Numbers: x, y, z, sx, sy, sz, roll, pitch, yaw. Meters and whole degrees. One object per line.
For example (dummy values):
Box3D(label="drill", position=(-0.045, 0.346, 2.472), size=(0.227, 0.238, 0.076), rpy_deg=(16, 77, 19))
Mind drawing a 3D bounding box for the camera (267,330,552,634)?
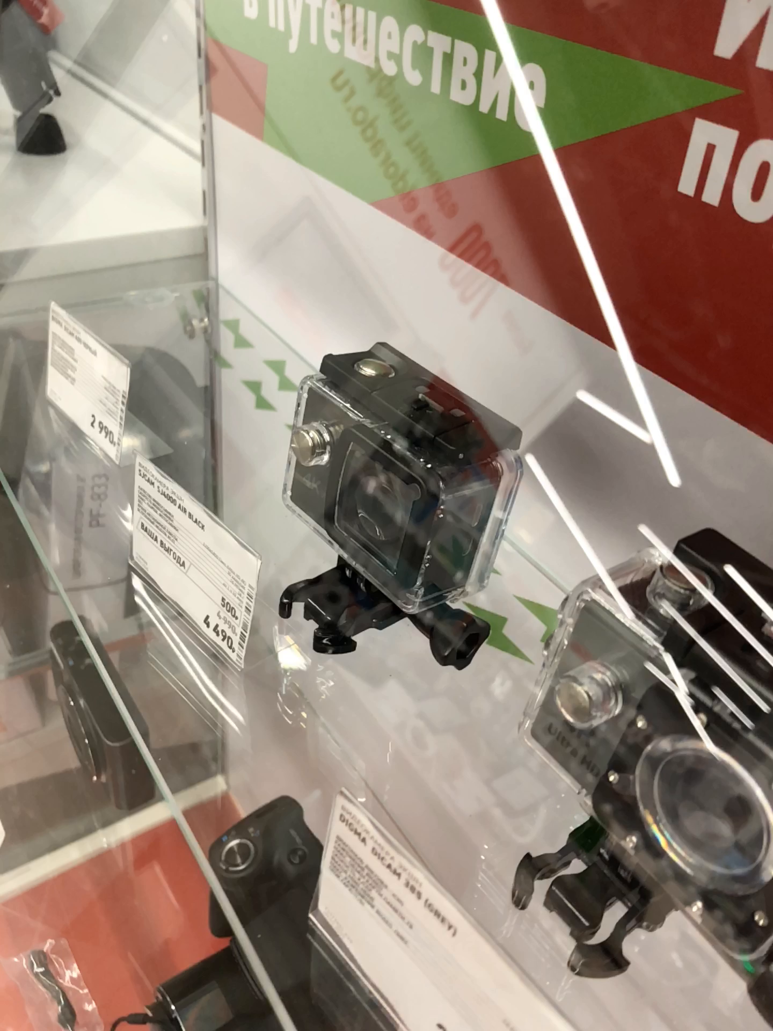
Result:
Box3D(label="camera", position=(0.003, -0.013, 0.254), size=(0.033, 0.055, 0.074), rpy_deg=(-17, 42, -40))
